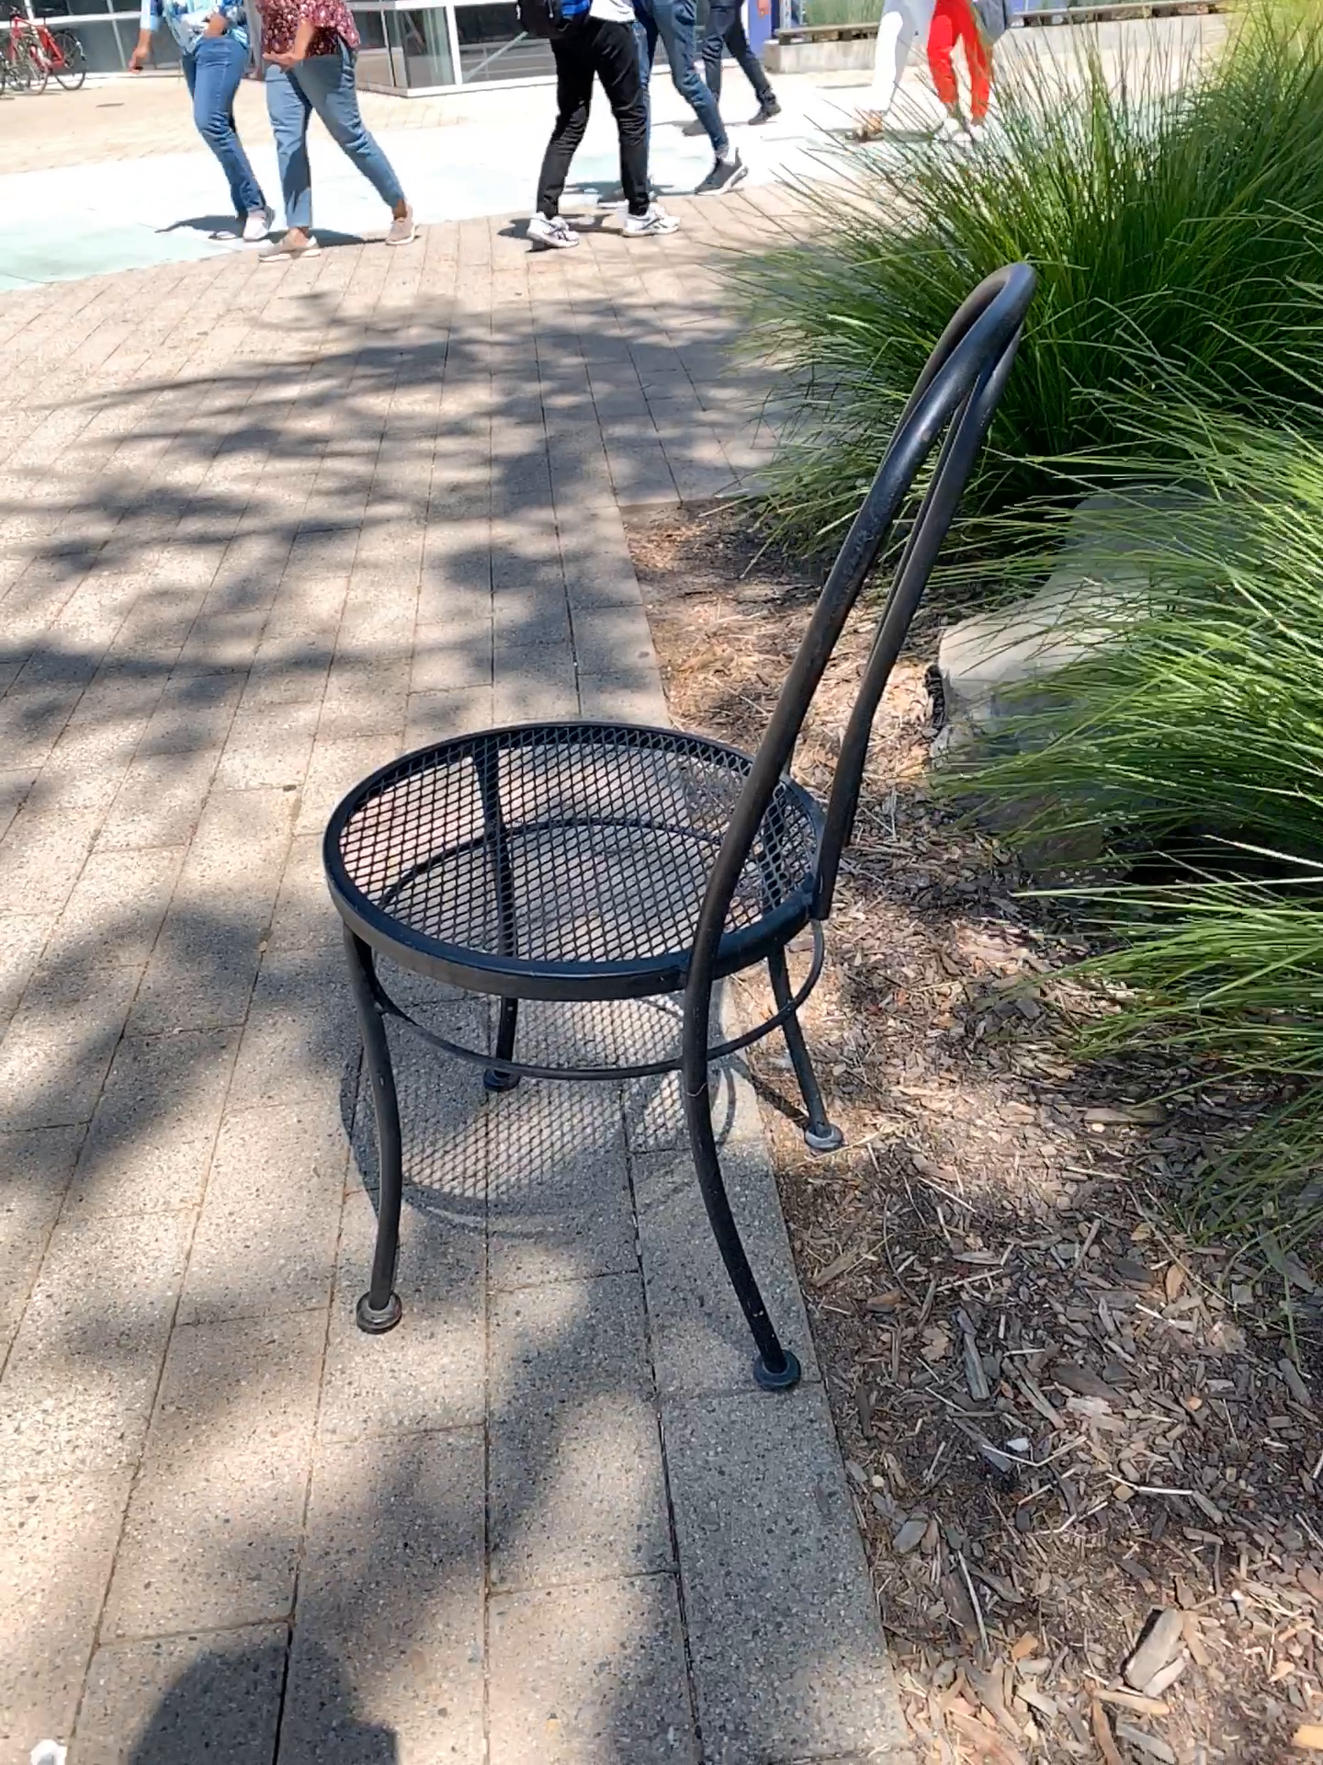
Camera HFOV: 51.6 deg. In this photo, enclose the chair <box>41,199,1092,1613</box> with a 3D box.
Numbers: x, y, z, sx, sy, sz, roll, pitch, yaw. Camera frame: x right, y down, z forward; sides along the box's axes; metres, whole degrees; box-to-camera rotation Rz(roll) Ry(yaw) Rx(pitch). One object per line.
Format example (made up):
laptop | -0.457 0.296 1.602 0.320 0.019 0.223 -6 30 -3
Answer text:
chair | 0.011 0.038 1.114 0.532 0.998 0.459 6 34 14
